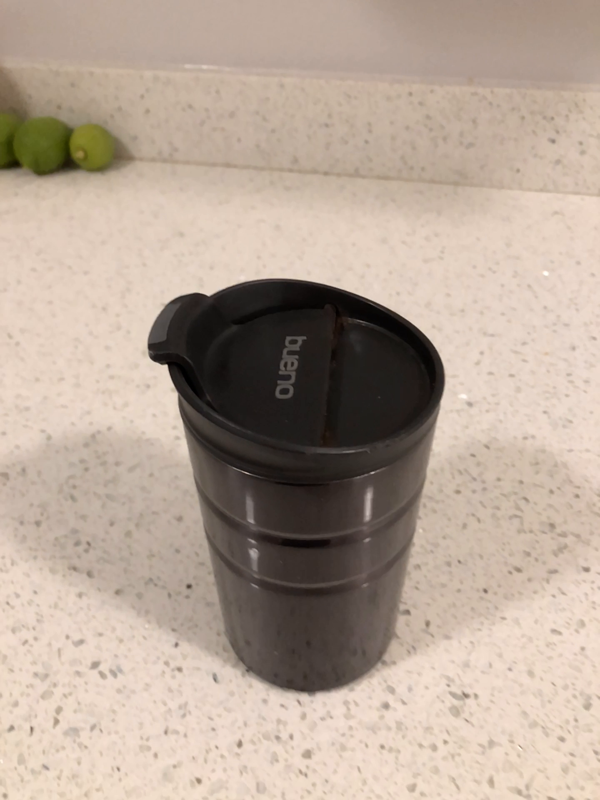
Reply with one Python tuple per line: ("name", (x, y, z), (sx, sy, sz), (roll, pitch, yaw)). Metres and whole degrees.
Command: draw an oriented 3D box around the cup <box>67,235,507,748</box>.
("cup", (0.000, 0.027, 0.220), (0.085, 0.116, 0.086), (-1, 40, 1))
